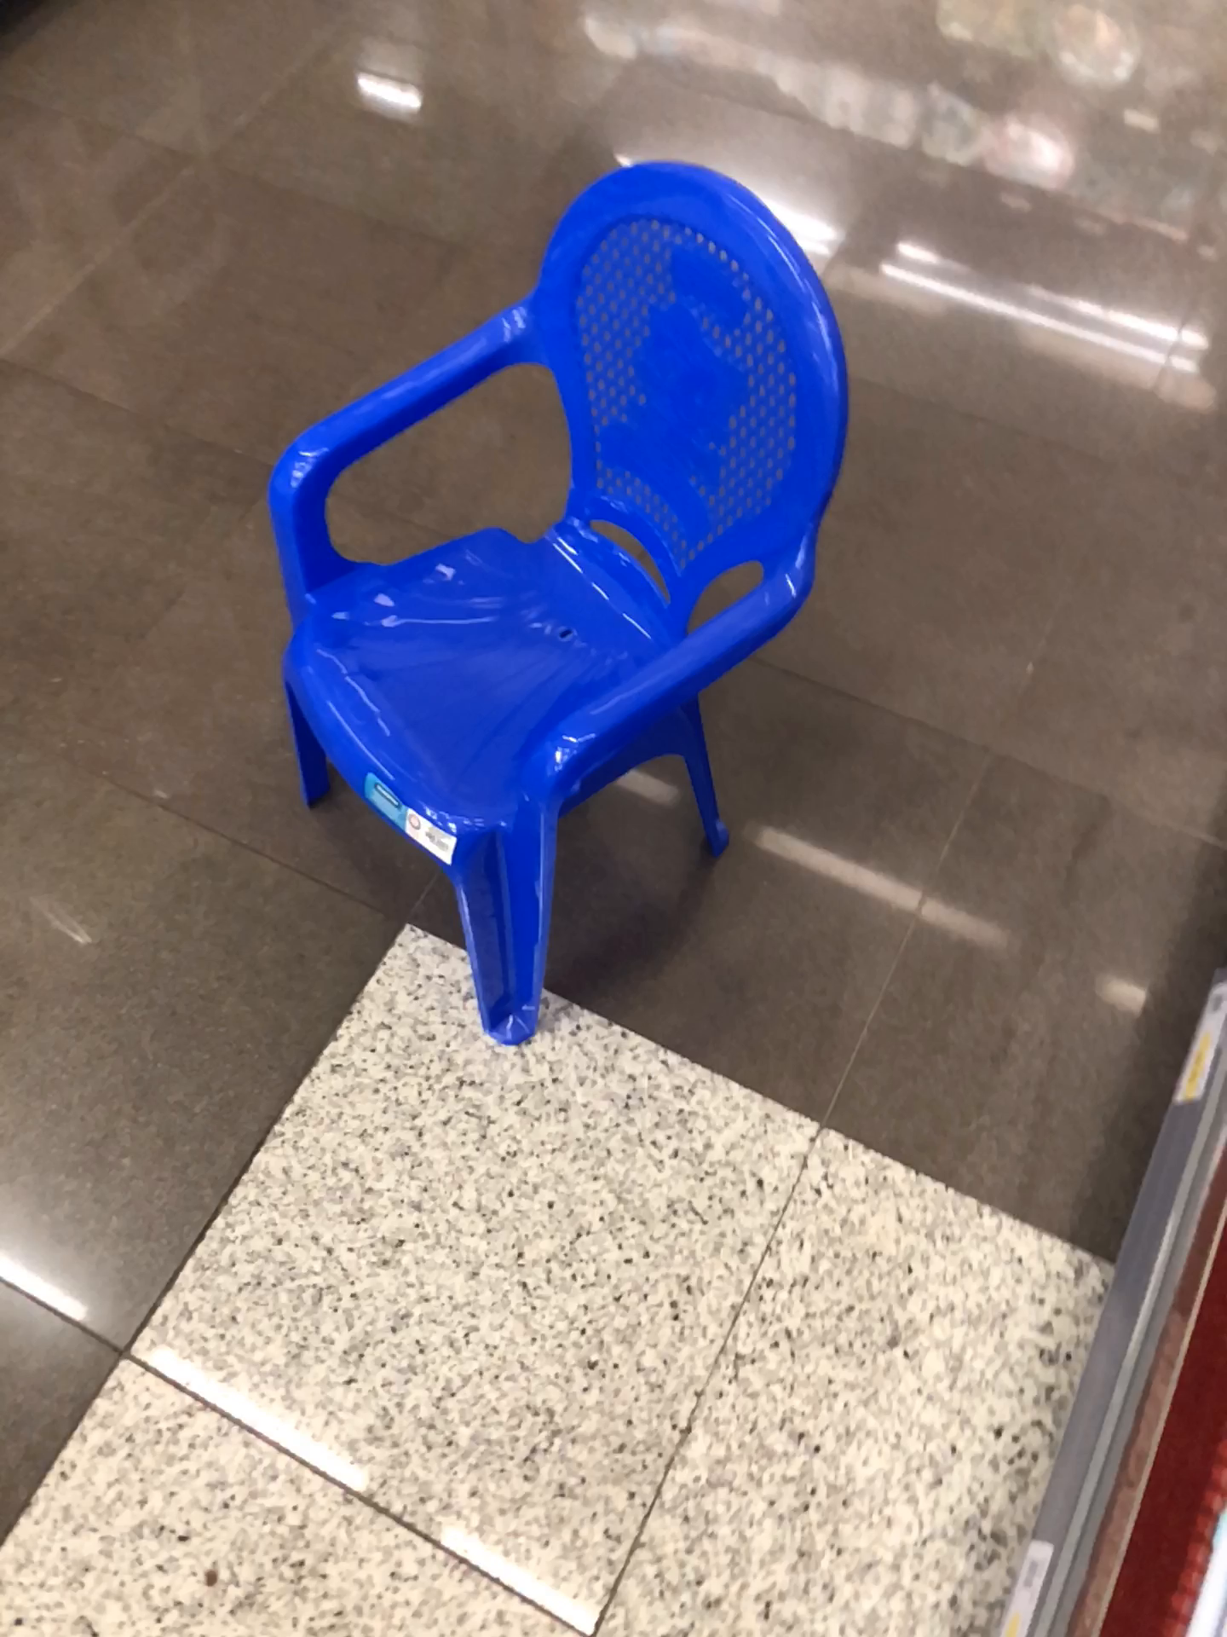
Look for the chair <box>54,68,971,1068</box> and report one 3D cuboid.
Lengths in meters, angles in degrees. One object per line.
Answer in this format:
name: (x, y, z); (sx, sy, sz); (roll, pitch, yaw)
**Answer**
chair: (-0.058, -0.151, 0.995); (0.401, 0.507, 0.351); (-33, 65, -16)
